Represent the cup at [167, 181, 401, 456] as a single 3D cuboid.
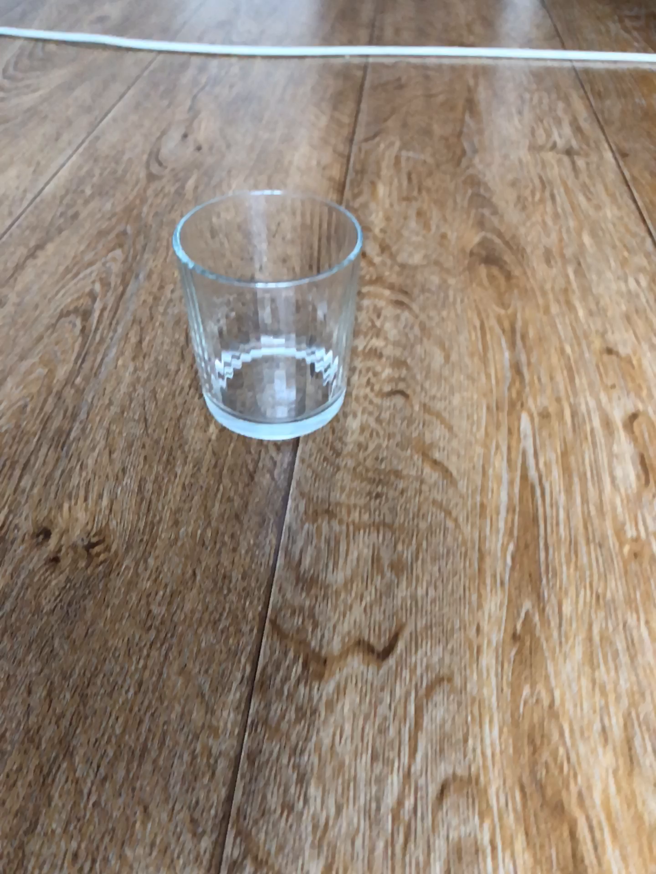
[{"bbox_3d":[-0.021,-0.052,0.313,0.078,0.079,0.076,1,43,-1],"label":"cup"}]
